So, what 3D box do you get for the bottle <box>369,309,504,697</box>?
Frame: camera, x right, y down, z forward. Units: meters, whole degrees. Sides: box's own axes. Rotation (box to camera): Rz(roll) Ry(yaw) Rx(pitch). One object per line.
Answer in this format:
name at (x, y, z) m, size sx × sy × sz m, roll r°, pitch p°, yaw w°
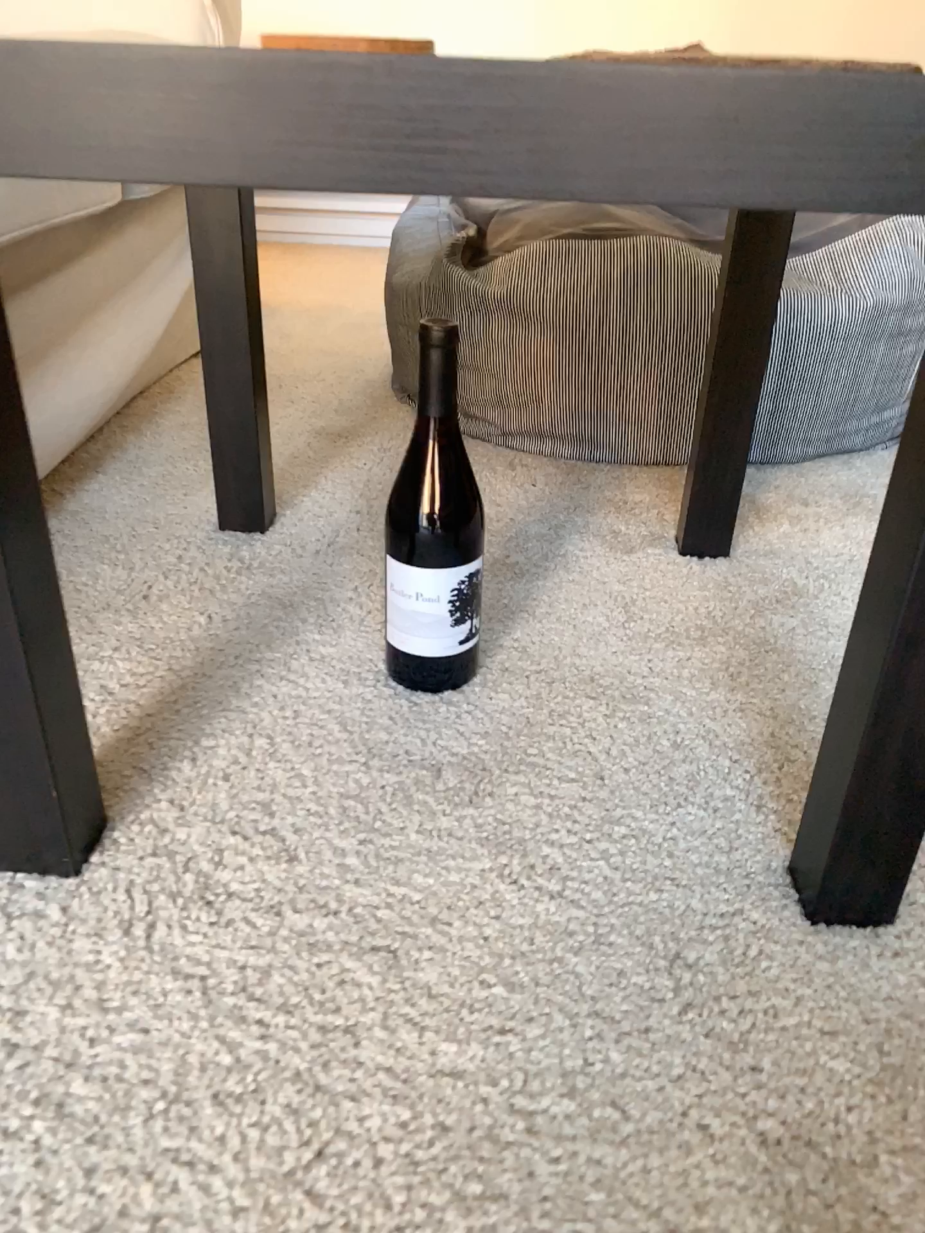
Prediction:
bottle at (-0.025, -0.081, 0.741) m, size 0.090 × 0.288 × 0.091 m, roll 2°, pitch 31°, yaw -1°
